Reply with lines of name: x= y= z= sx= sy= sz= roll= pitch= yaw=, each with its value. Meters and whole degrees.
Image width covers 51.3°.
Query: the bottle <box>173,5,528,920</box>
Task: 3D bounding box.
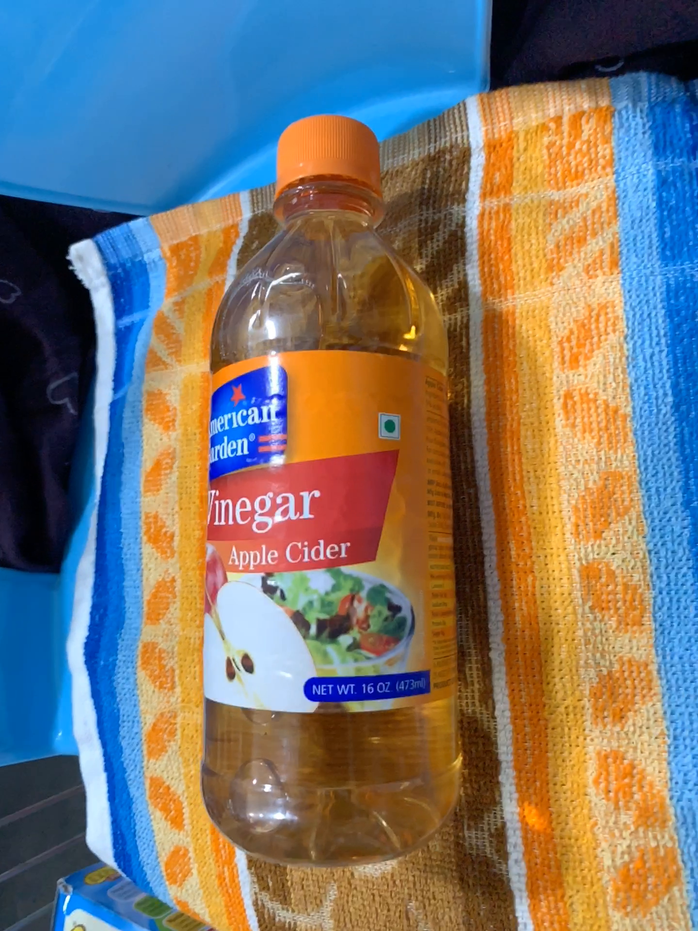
bottle: x=-0.002 y=-0.002 z=0.184 sx=0.070 sy=0.050 sz=0.180 roll=-6 pitch=82 yaw=43
